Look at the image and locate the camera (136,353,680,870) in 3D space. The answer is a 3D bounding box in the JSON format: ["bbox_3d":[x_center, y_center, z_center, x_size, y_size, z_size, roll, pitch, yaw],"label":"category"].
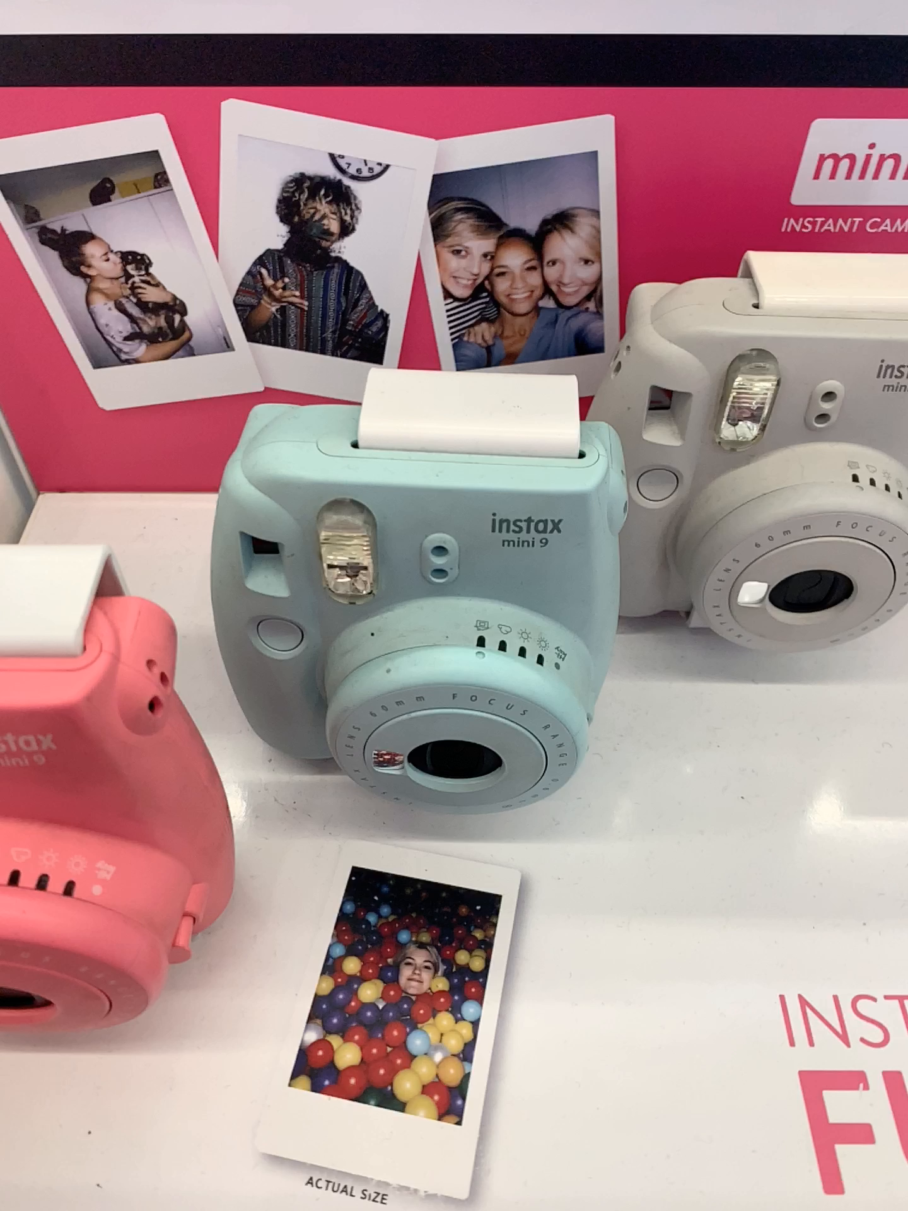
[{"bbox_3d":[-0.008,0.008,0.261,0.110,0.129,0.071,3,49,2],"label":"camera"}]
